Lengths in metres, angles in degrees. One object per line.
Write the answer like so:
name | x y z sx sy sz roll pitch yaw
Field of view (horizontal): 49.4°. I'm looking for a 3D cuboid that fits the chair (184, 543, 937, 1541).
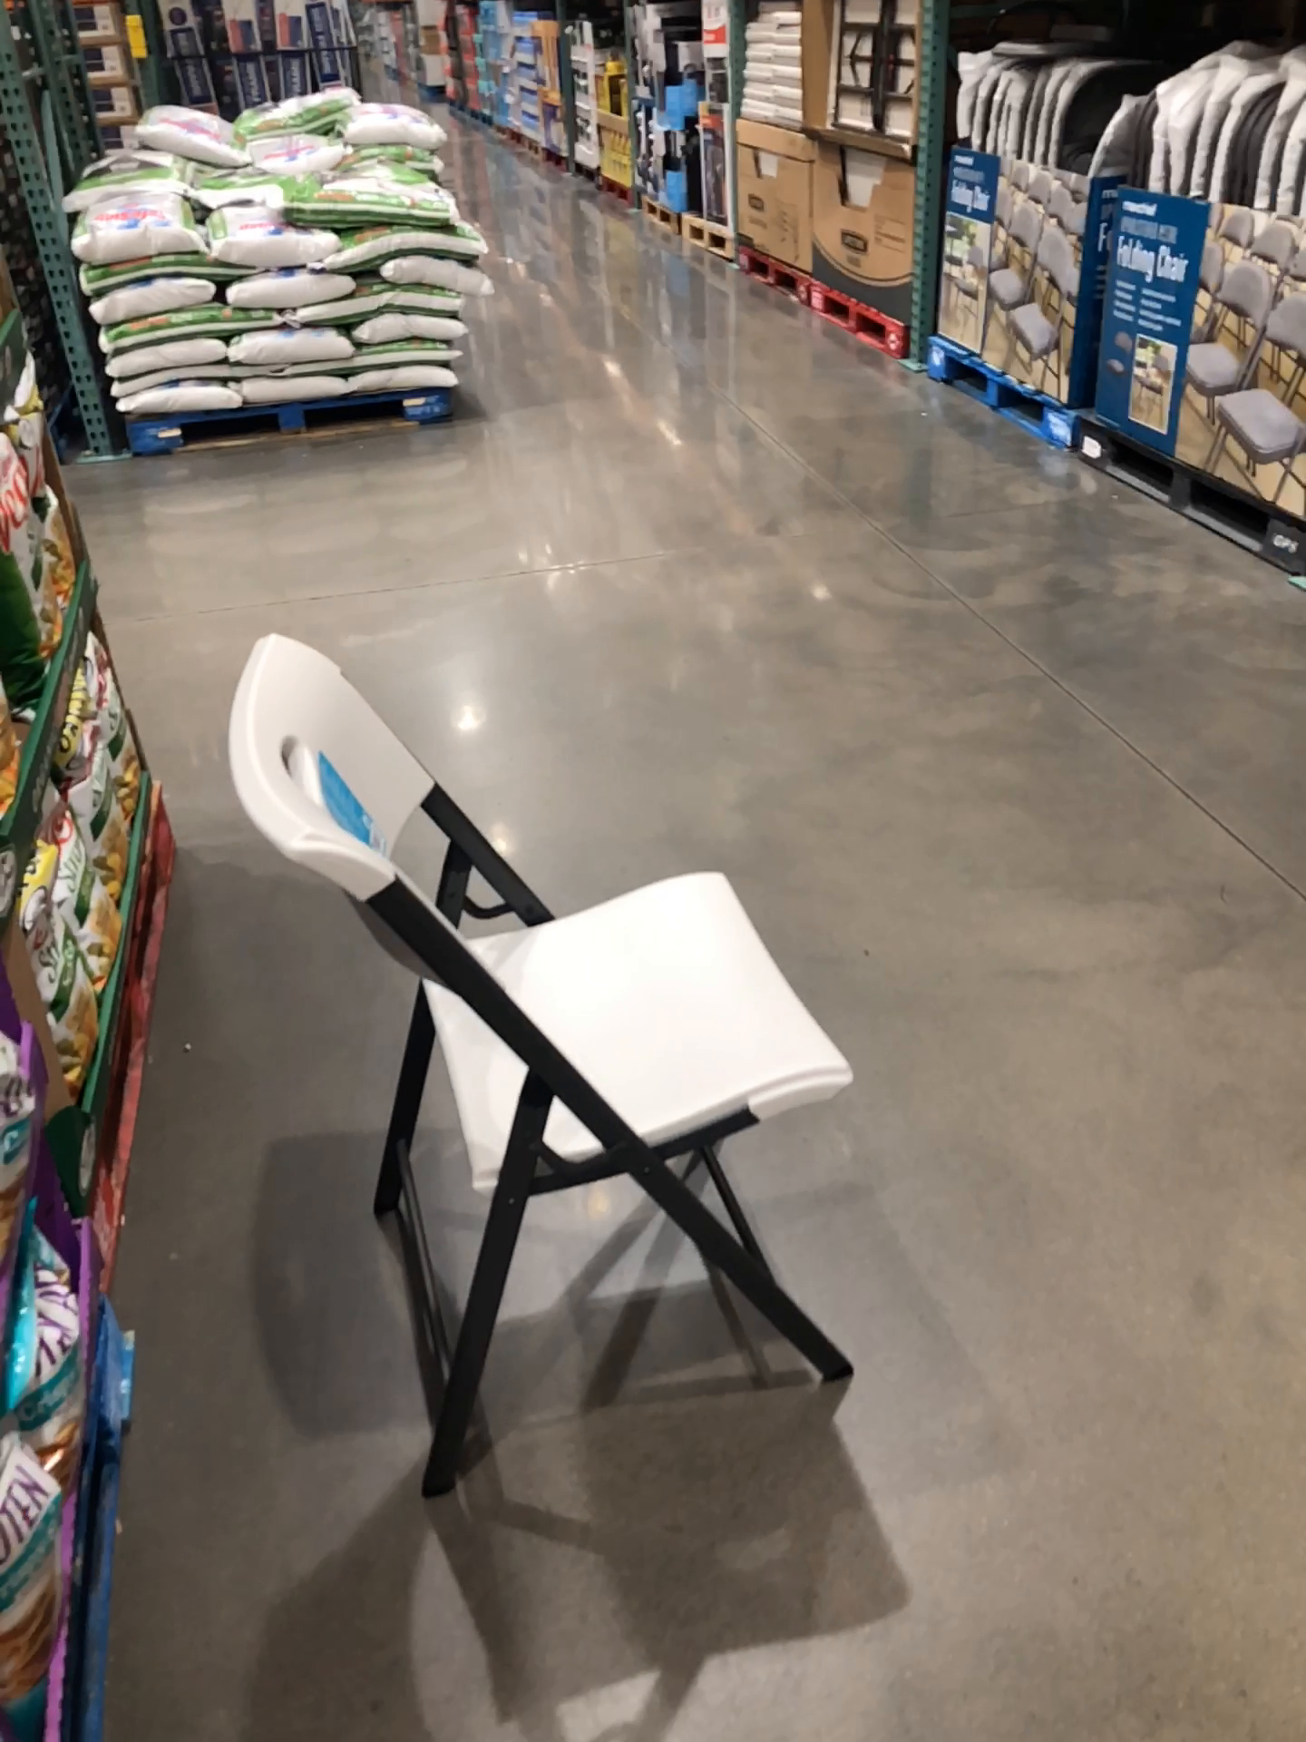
chair | -0.108 0.154 1.538 0.594 0.790 0.548 -12 32 -13
